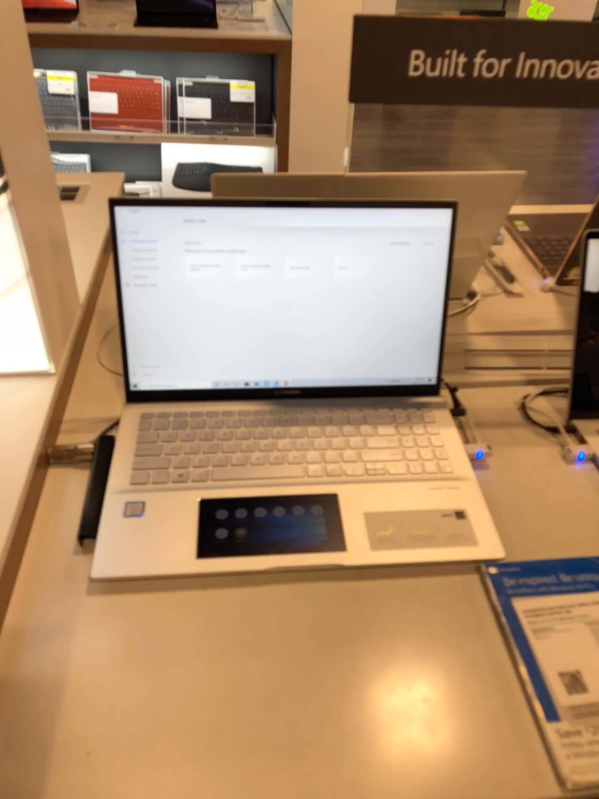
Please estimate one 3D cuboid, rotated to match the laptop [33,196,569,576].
[{"bbox_3d":[-0.007,-0.031,0.569,0.330,0.189,0.285,-1,38,-5],"label":"laptop"}]
